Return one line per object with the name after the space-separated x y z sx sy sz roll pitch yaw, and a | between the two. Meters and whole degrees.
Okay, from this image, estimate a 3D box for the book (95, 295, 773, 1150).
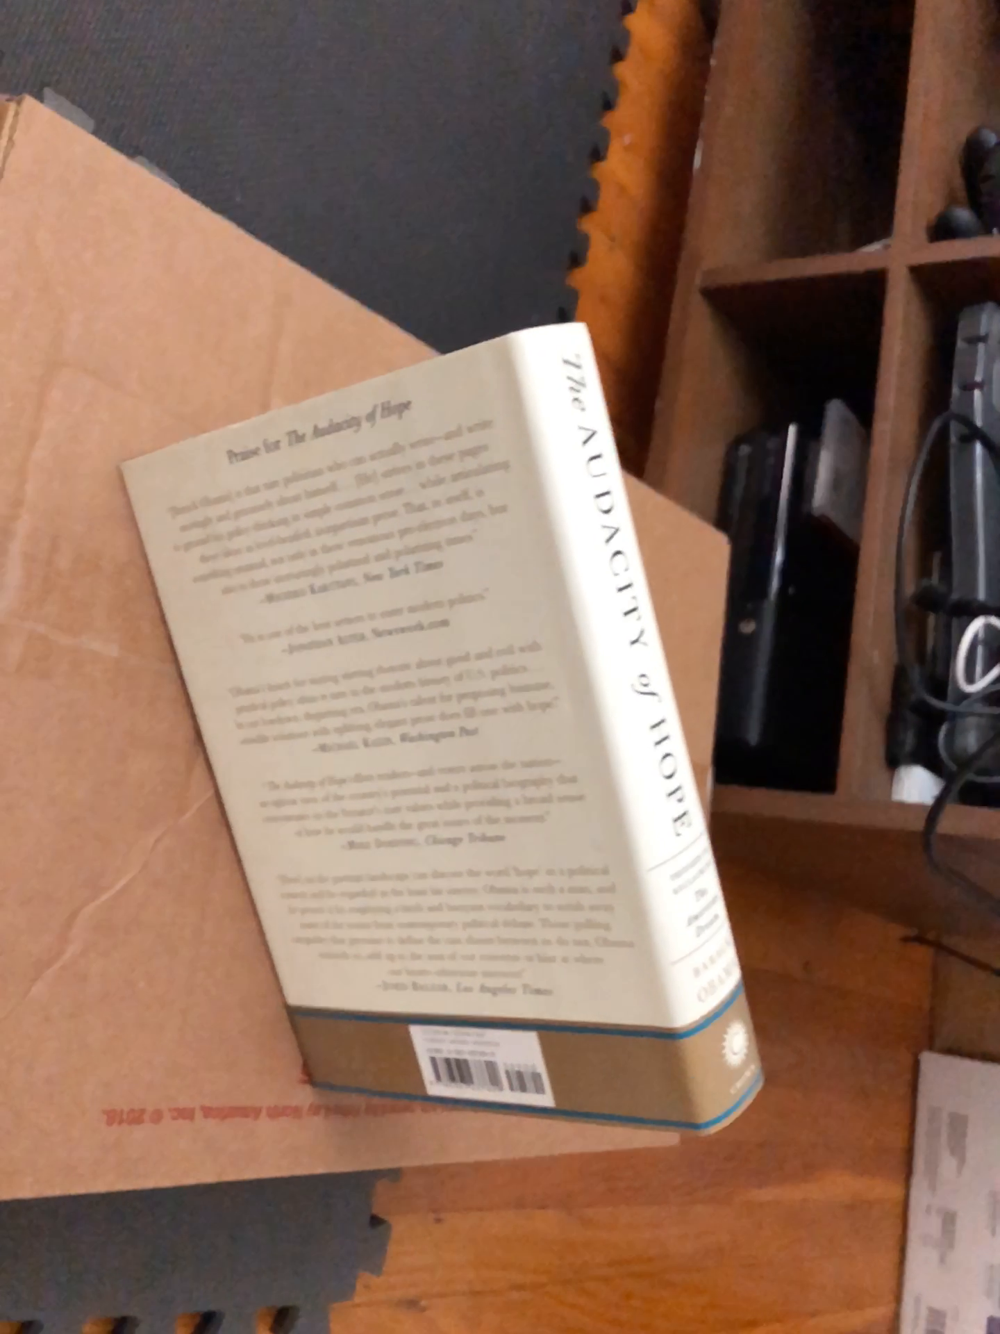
-0.021 0.024 0.378 0.060 0.169 0.250 -29 109 -56 | book
